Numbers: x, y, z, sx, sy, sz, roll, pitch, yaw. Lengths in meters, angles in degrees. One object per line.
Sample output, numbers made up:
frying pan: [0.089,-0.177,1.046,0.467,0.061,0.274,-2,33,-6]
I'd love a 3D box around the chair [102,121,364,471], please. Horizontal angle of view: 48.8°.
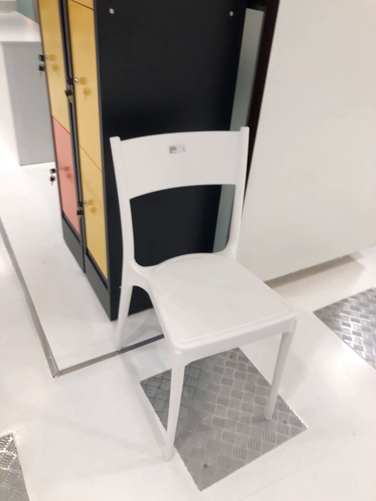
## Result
chair: [0.044,0.108,1.157,0.411,0.764,0.483,-12,37,-23]
